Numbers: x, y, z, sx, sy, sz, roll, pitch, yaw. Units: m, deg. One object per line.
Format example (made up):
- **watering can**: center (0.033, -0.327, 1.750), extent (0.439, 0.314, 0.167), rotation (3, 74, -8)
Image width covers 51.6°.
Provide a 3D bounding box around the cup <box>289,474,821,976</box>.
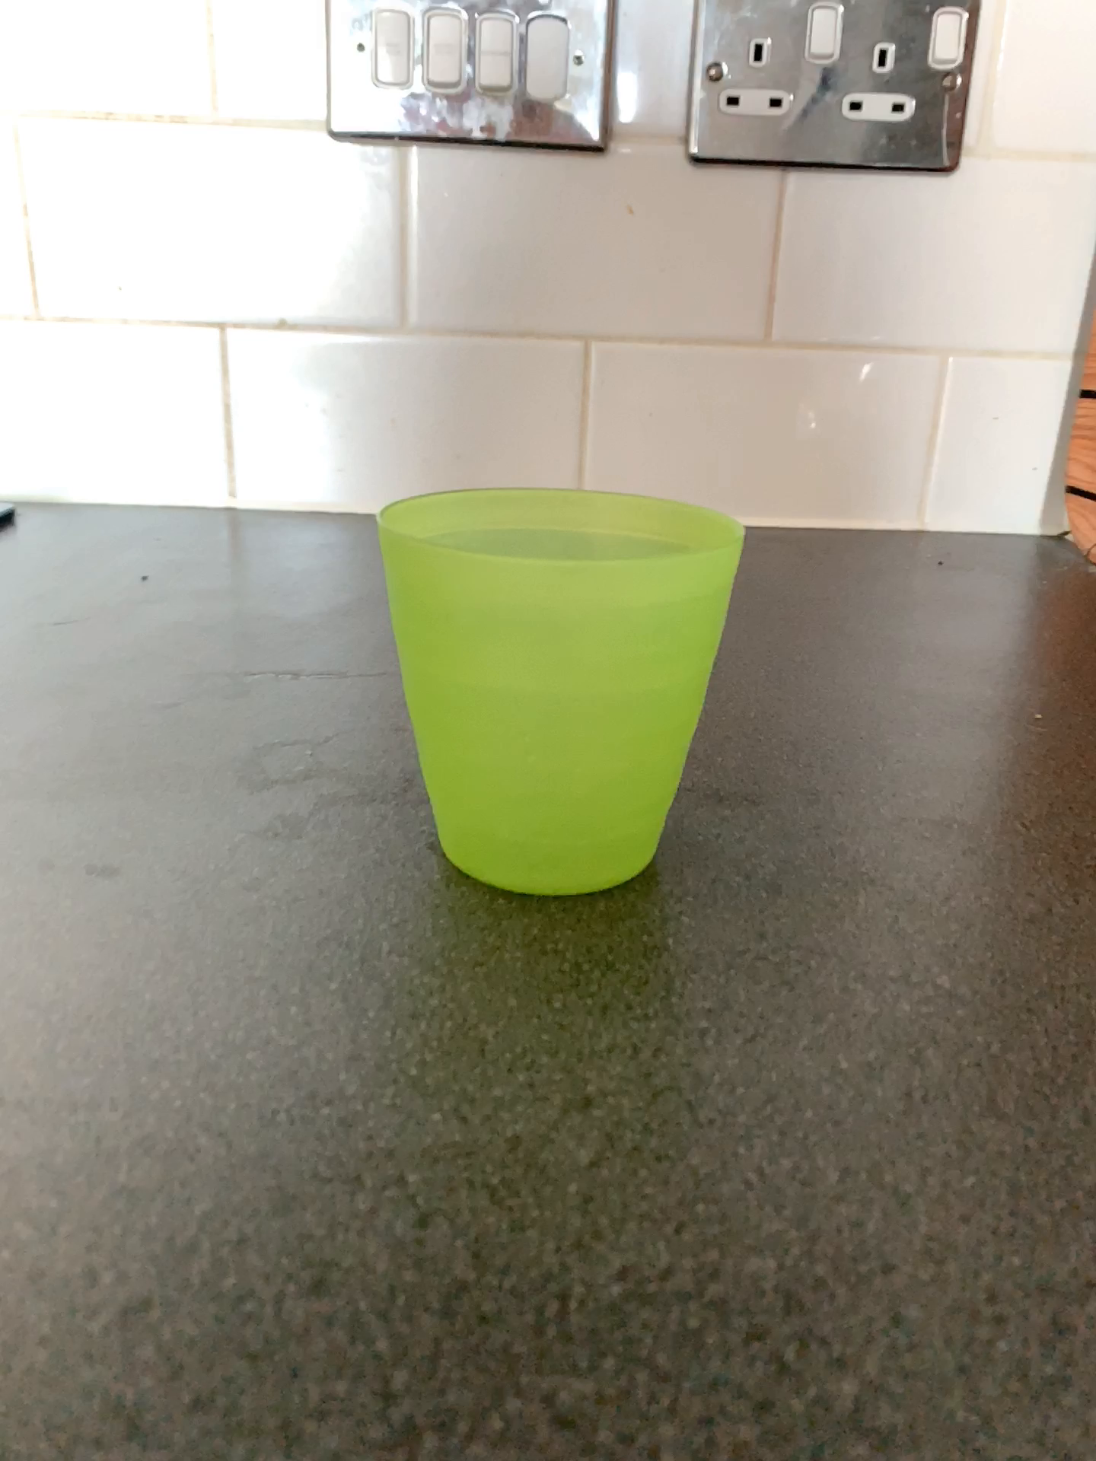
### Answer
- **cup**: center (-0.002, -0.010, 0.265), extent (0.090, 0.081, 0.078), rotation (-12, 27, -34)
